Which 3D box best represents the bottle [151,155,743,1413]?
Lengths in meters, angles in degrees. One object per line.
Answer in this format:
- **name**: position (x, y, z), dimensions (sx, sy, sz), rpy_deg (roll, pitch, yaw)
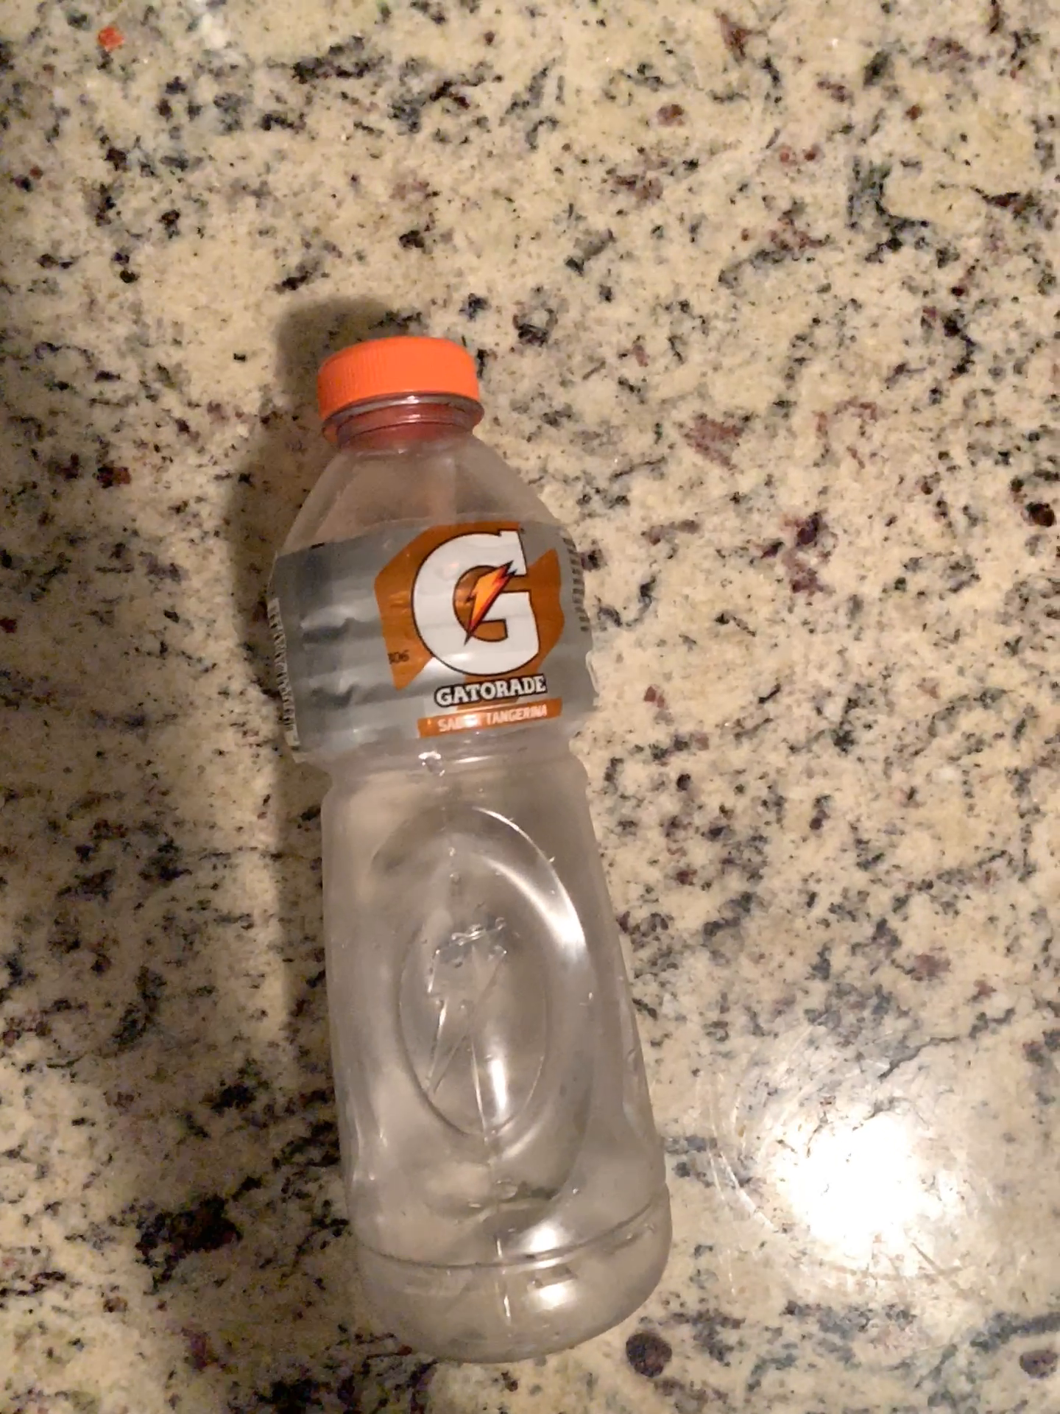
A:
- **bottle**: position (-0.015, 0.019, 0.222), dimensions (0.070, 0.070, 0.220), rpy_deg (-8, 90, -3)
